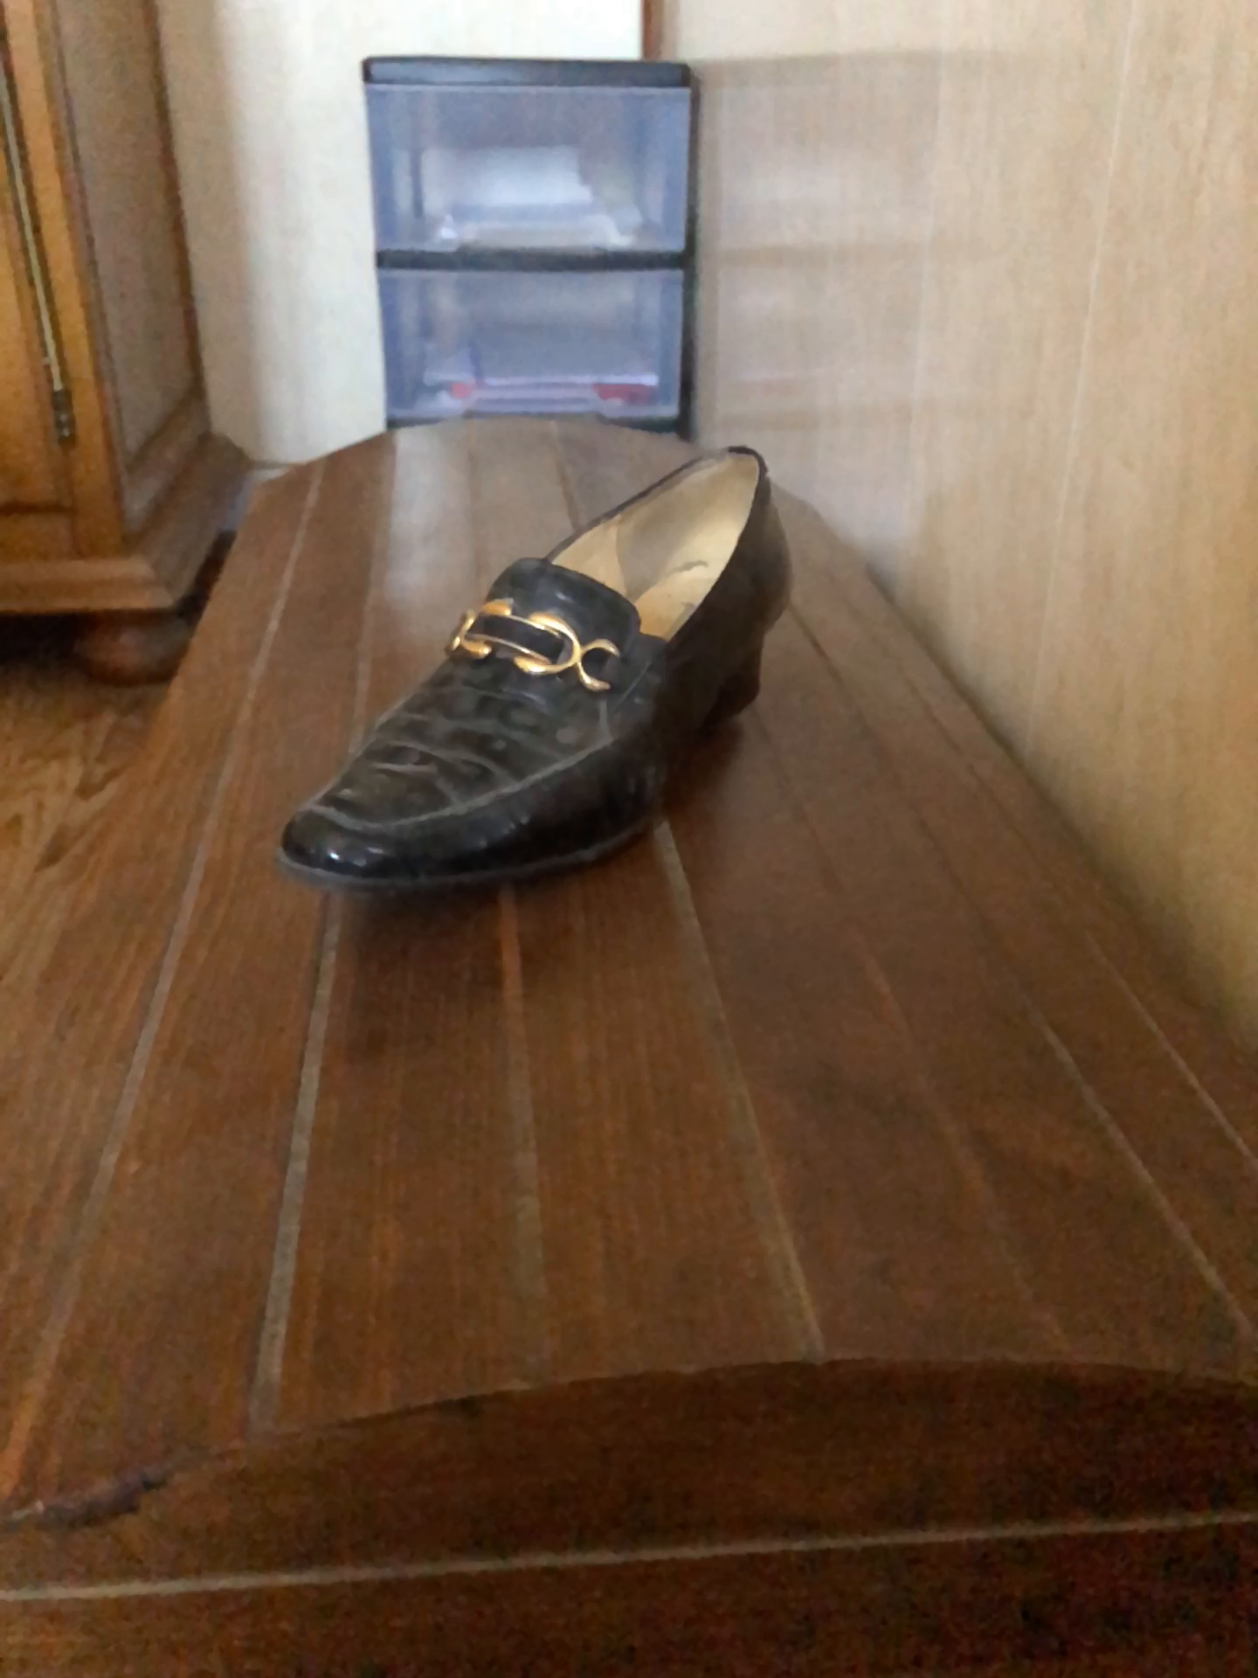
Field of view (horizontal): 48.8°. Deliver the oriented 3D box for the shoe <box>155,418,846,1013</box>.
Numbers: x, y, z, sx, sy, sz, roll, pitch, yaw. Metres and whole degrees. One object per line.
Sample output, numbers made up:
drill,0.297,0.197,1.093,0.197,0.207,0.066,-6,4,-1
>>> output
shoe,-0.022,-0.059,0.456,0.090,0.099,0.242,16,33,27
